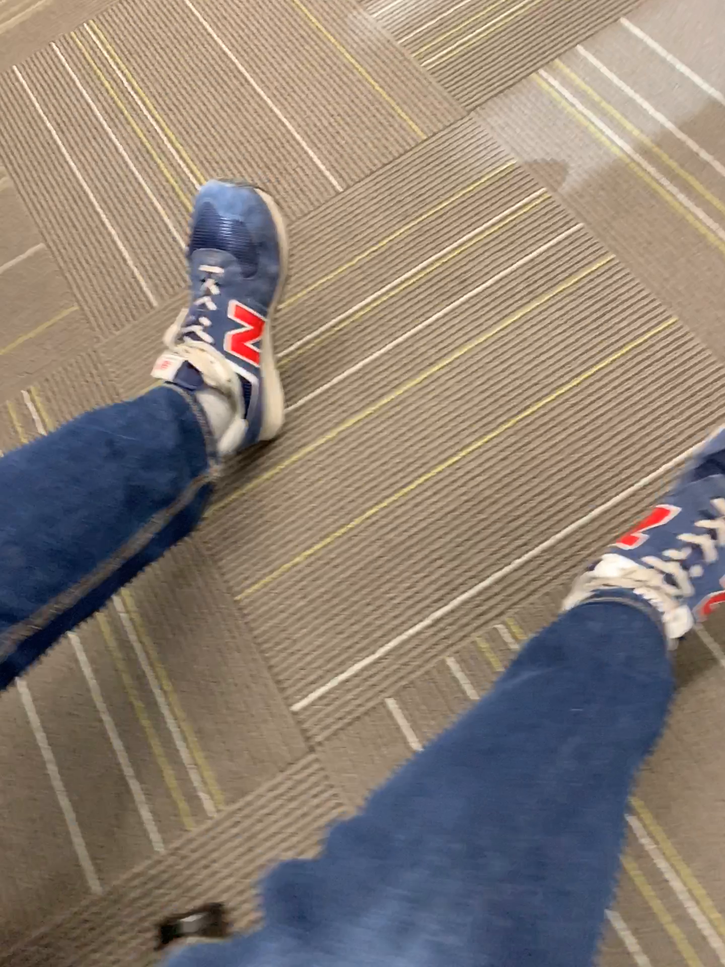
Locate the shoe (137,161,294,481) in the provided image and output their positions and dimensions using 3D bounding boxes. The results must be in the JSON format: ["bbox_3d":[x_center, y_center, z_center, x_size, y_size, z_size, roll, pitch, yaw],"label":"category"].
[{"bbox_3d":[-0.153,-0.168,0.789,0.115,0.302,0.096,17,33,17],"label":"shoe"}]

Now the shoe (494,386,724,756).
[{"bbox_3d":[0.262,0.084,0.639,0.120,0.296,0.136,39,40,10],"label":"shoe"}]
